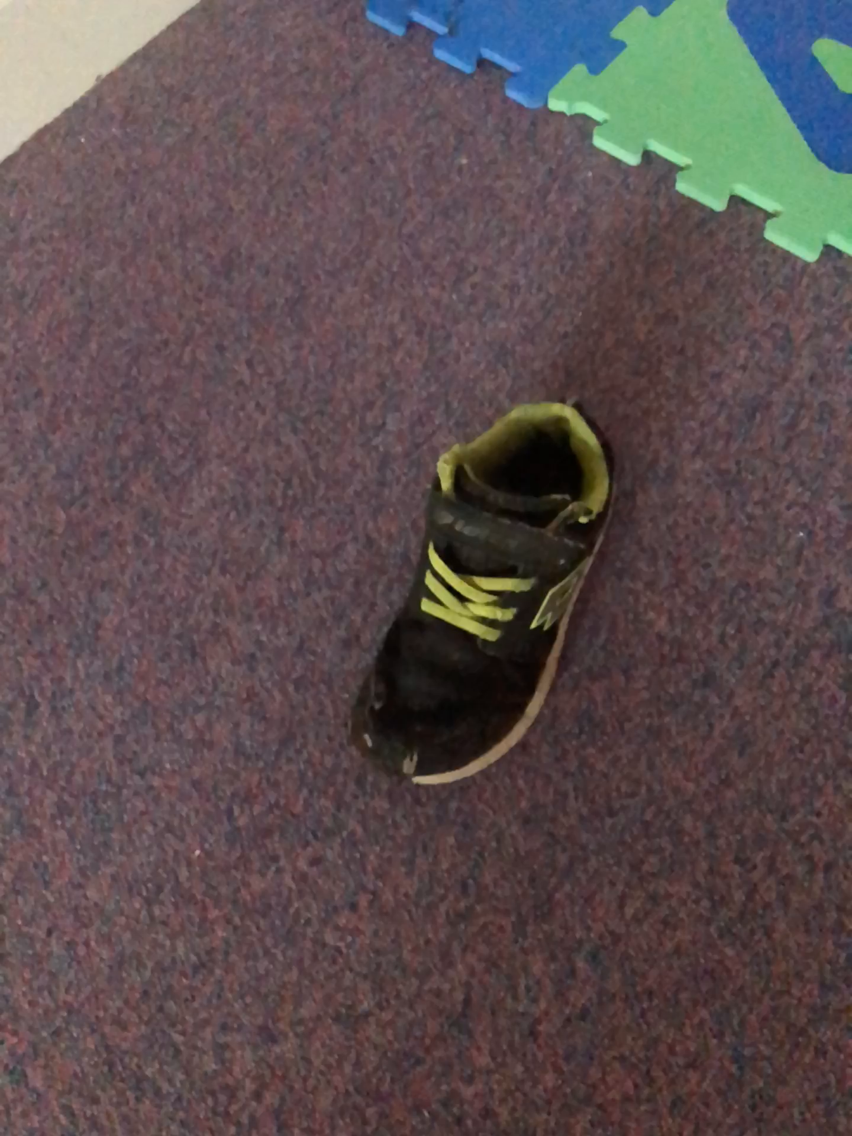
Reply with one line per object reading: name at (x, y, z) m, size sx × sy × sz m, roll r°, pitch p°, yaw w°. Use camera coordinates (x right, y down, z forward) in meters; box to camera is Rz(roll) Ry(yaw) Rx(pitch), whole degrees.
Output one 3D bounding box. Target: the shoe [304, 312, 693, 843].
shoe at (0.042, 0.004, 0.456) m, size 0.090 × 0.100 × 0.221 m, roll 21°, pitch 71°, yaw 14°
